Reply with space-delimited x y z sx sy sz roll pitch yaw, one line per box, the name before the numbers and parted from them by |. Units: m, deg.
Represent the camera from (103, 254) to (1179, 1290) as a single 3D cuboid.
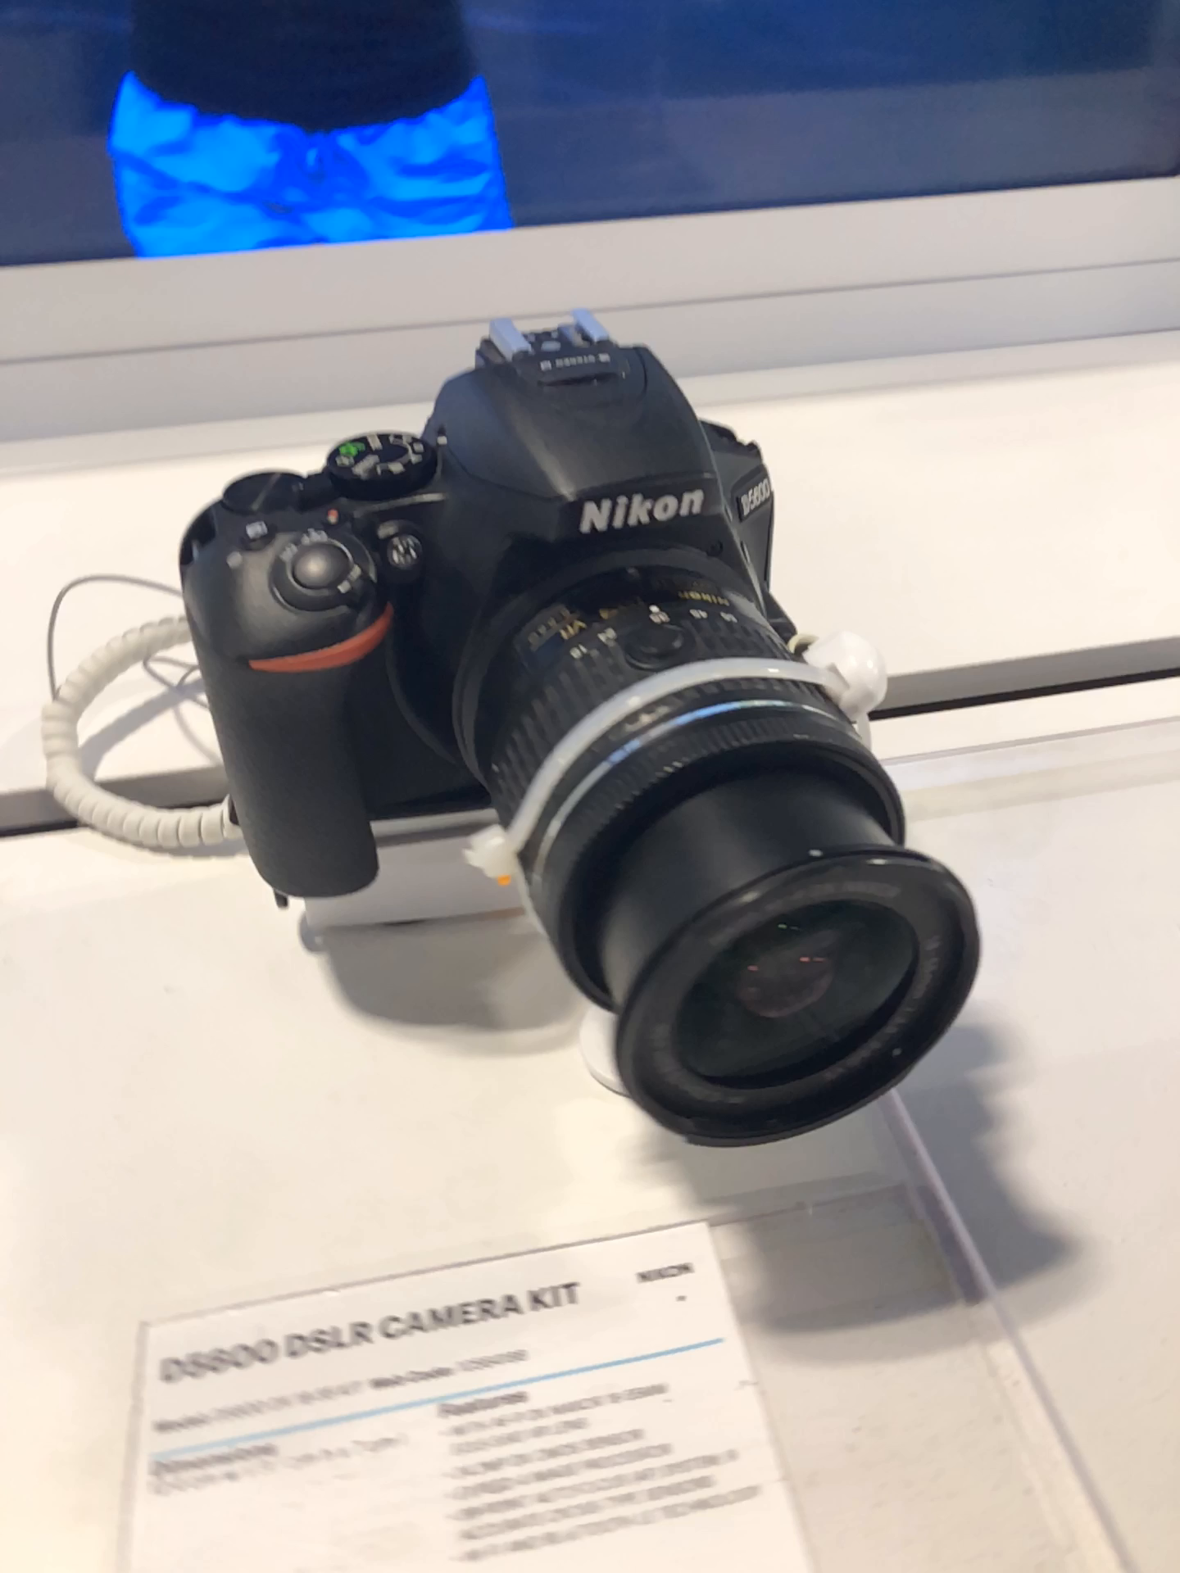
camera | -0.007 -0.020 0.231 0.130 0.089 0.151 -12 38 -12
